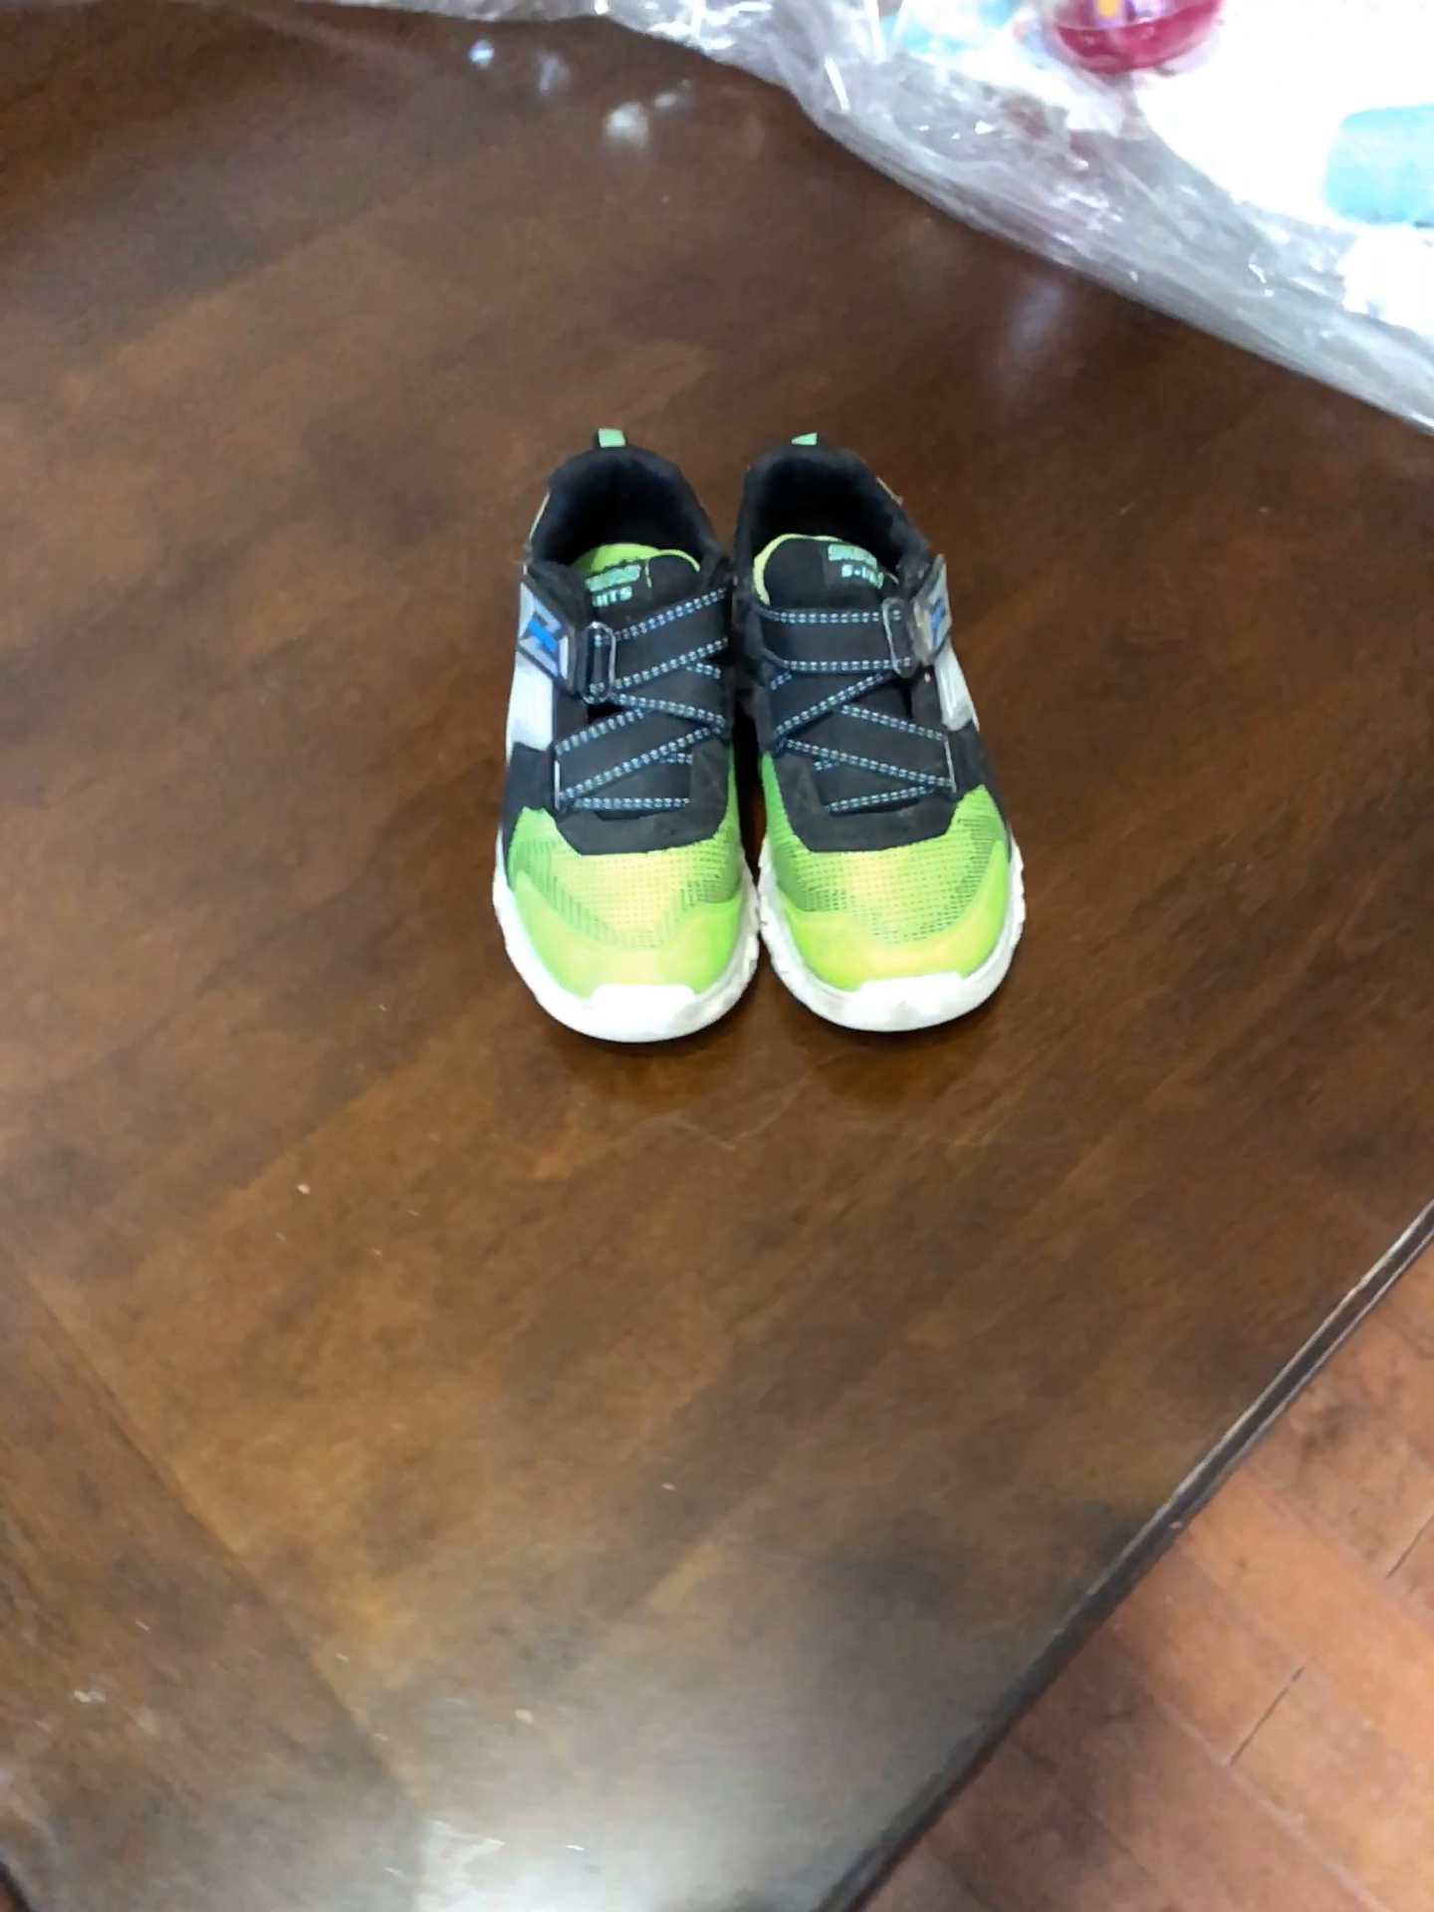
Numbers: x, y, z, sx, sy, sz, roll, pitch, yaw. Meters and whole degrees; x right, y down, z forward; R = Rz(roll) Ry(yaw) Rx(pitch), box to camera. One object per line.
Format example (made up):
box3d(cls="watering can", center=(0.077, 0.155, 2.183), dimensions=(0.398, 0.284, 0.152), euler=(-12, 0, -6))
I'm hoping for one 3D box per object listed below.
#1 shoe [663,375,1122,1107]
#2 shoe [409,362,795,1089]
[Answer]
box3d(cls="shoe", center=(0.046, -0.073, 0.515), dimensions=(0.100, 0.100, 0.210), euler=(-7, 59, -3))
box3d(cls="shoe", center=(-0.034, -0.077, 0.508), dimensions=(0.100, 0.100, 0.210), euler=(-3, 58, -1))
